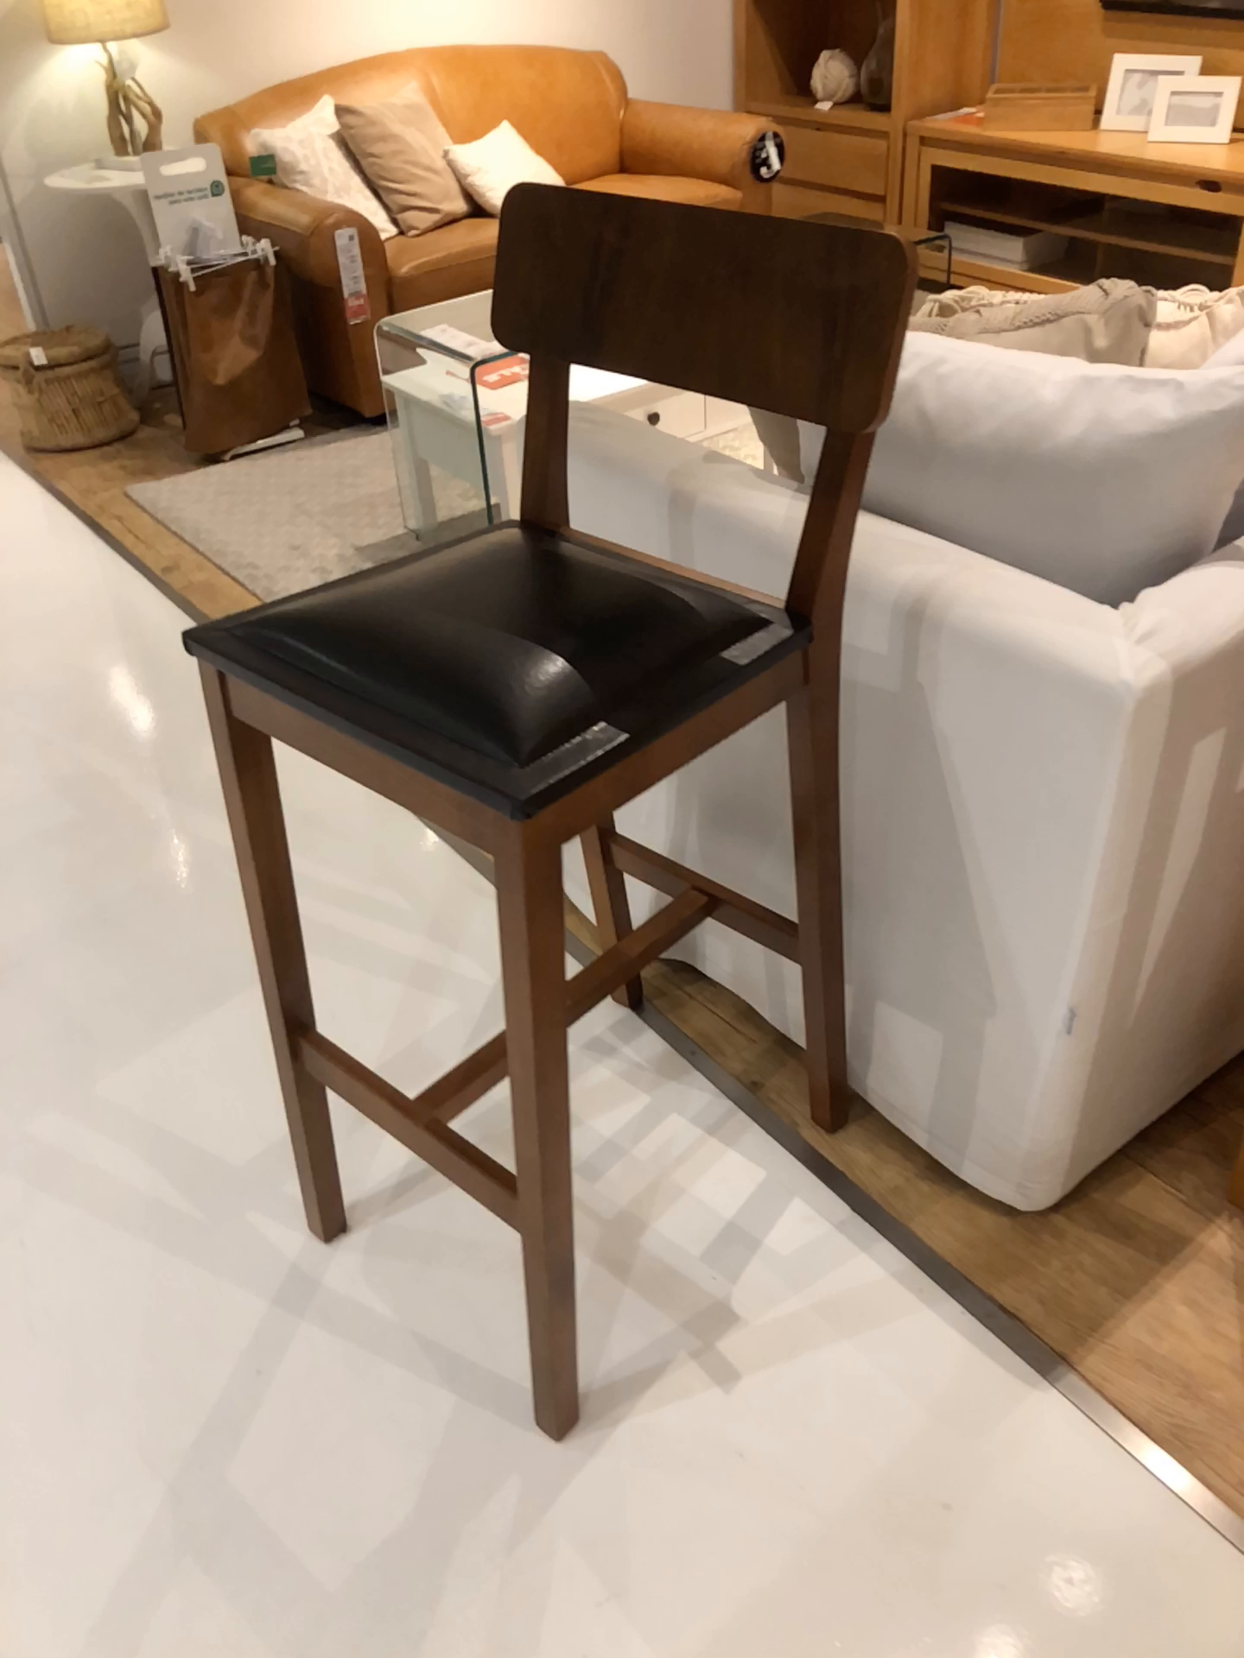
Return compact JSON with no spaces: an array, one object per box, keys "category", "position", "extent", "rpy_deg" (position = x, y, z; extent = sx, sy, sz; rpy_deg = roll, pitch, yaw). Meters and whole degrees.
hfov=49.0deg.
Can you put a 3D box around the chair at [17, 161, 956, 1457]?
[{"category":"chair","position":[-0.061,-0.015,1.288],"extent":[0.442,1.002,0.532],"rpy_deg":[26,45,35]}]
